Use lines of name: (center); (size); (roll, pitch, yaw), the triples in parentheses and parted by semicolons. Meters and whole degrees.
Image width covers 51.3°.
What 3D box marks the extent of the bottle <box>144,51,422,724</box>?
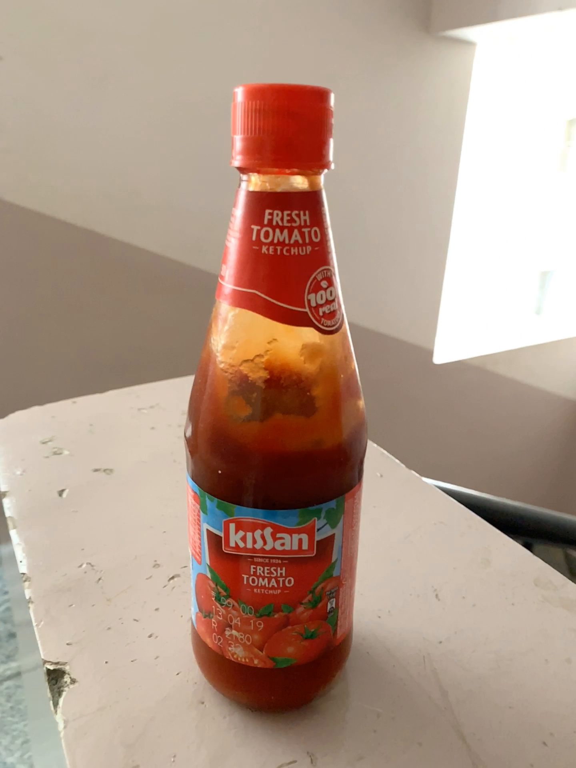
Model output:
bottle: (-0.003, 0.008, 0.220); (0.070, 0.219, 0.070); (2, 20, -1)
